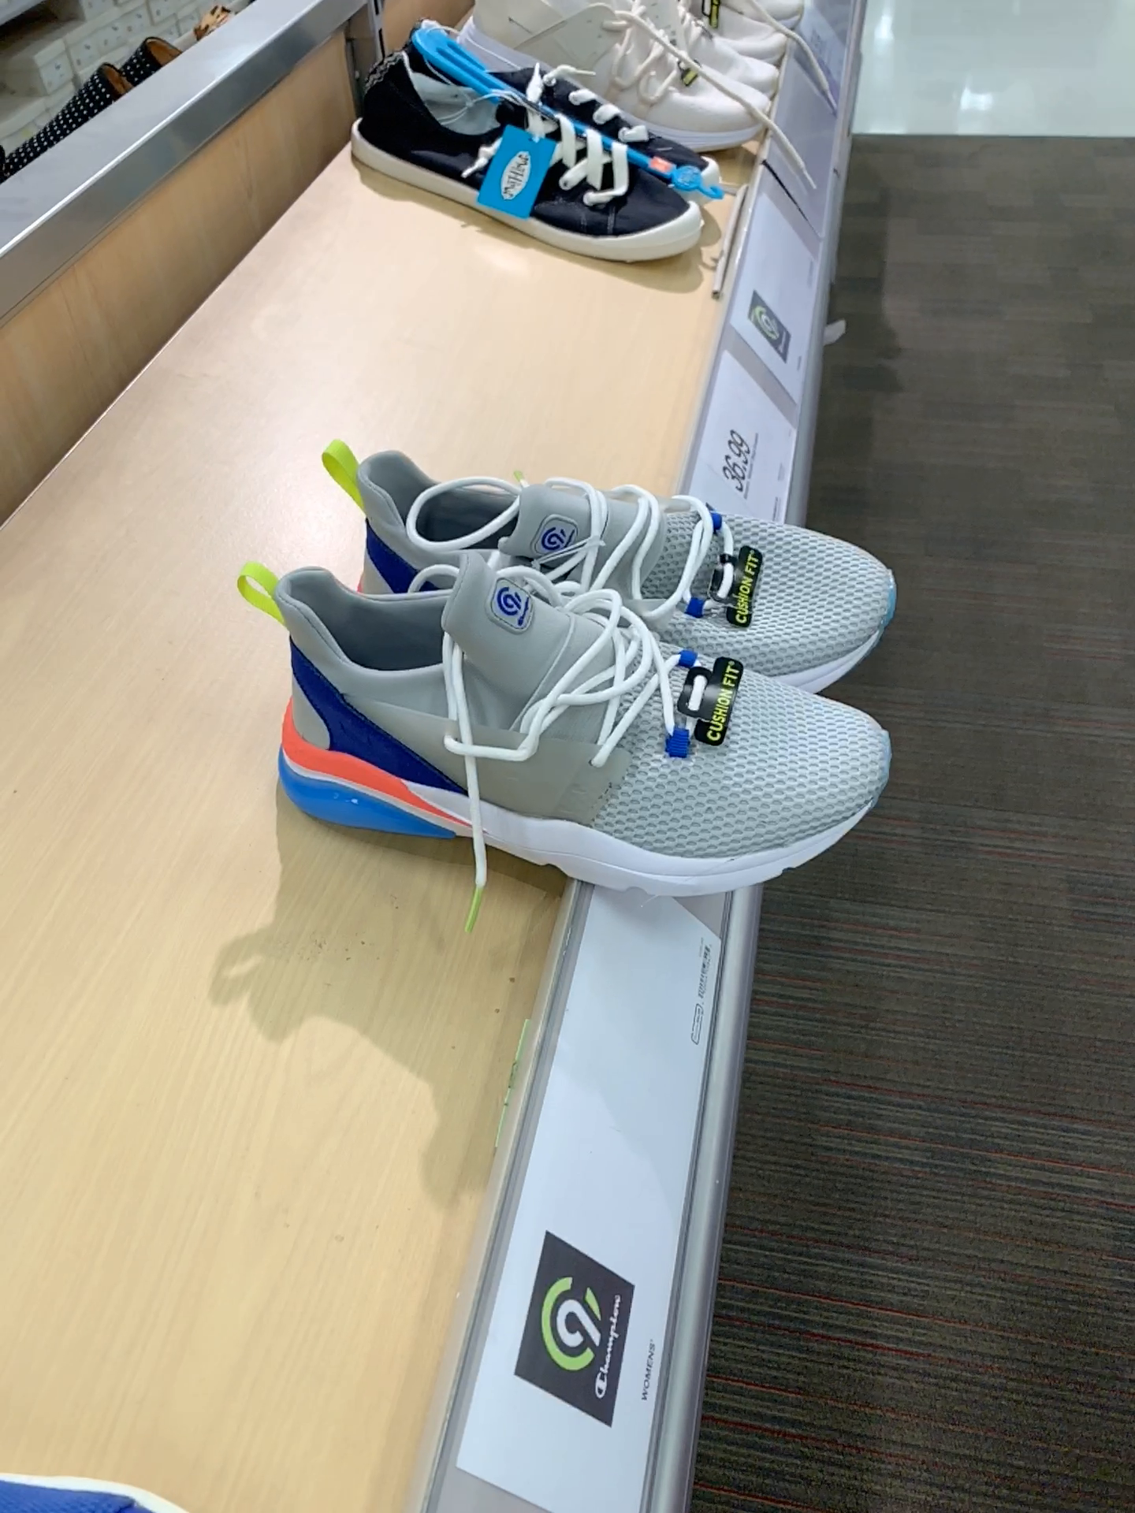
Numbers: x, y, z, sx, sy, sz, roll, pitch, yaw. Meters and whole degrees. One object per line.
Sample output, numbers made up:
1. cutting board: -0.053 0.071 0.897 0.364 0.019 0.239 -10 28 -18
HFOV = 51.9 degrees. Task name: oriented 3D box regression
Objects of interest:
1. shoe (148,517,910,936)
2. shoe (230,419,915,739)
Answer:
1. shoe: -0.008 -0.017 0.472 0.270 0.090 0.110 7 47 10
2. shoe: 0.005 -0.083 0.528 0.270 0.090 0.110 2 46 6
